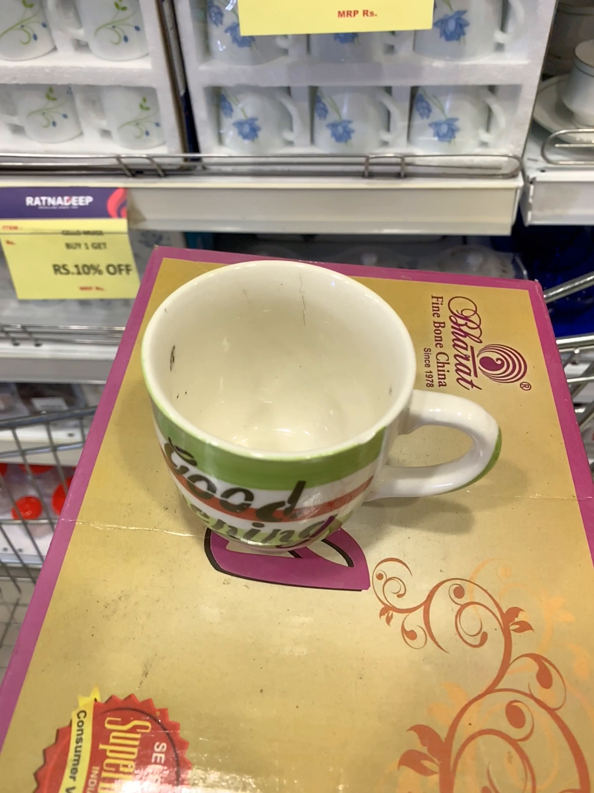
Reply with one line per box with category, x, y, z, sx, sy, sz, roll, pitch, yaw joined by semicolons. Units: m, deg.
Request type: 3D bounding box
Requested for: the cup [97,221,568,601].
cup;0.012;0.001;0.191;0.110;0.060;0.080;10;47;6
